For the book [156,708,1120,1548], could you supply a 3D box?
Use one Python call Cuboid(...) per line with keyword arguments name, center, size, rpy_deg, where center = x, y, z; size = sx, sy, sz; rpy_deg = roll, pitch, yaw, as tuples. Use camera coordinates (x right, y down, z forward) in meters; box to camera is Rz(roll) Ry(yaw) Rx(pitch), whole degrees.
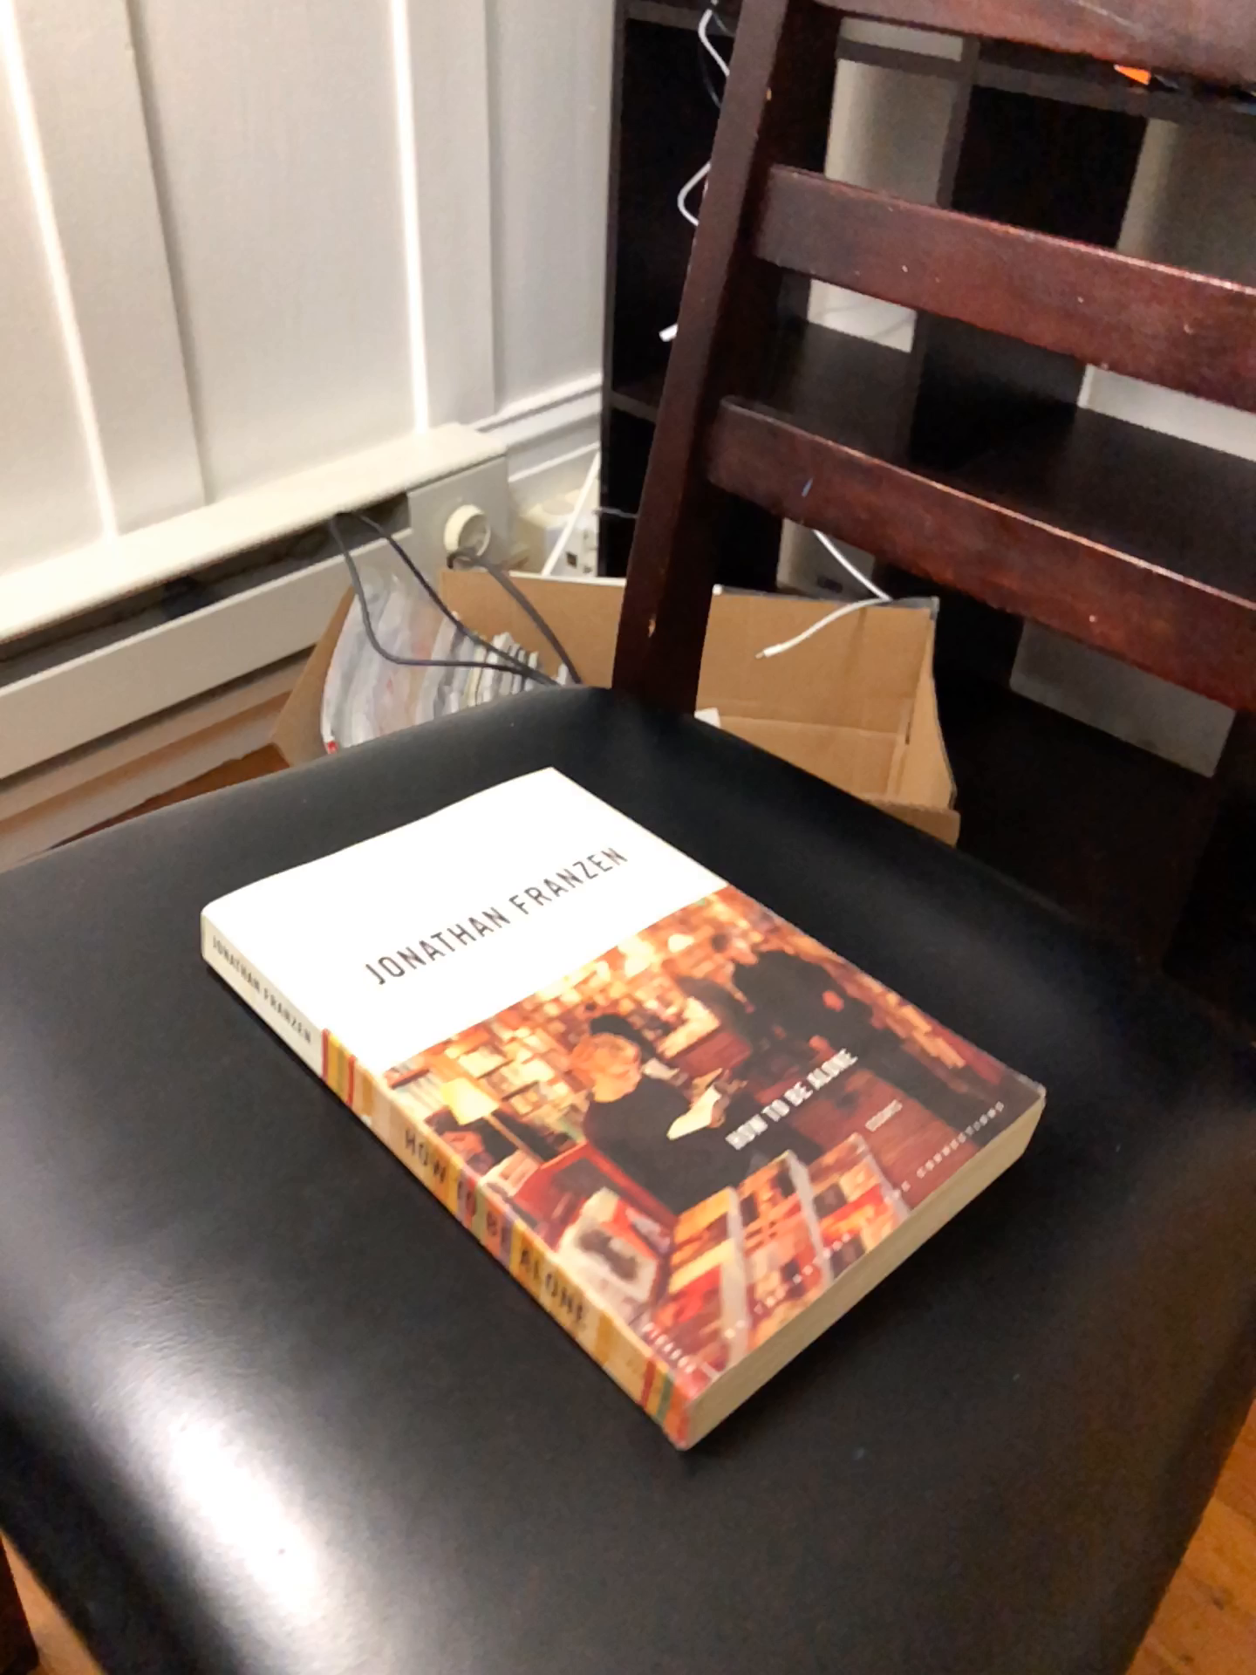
Cuboid(name="book", center=(-0.005, 0.056, 0.406), size=(0.161, 0.040, 0.231), rpy_deg=(-28, 48, -34))
